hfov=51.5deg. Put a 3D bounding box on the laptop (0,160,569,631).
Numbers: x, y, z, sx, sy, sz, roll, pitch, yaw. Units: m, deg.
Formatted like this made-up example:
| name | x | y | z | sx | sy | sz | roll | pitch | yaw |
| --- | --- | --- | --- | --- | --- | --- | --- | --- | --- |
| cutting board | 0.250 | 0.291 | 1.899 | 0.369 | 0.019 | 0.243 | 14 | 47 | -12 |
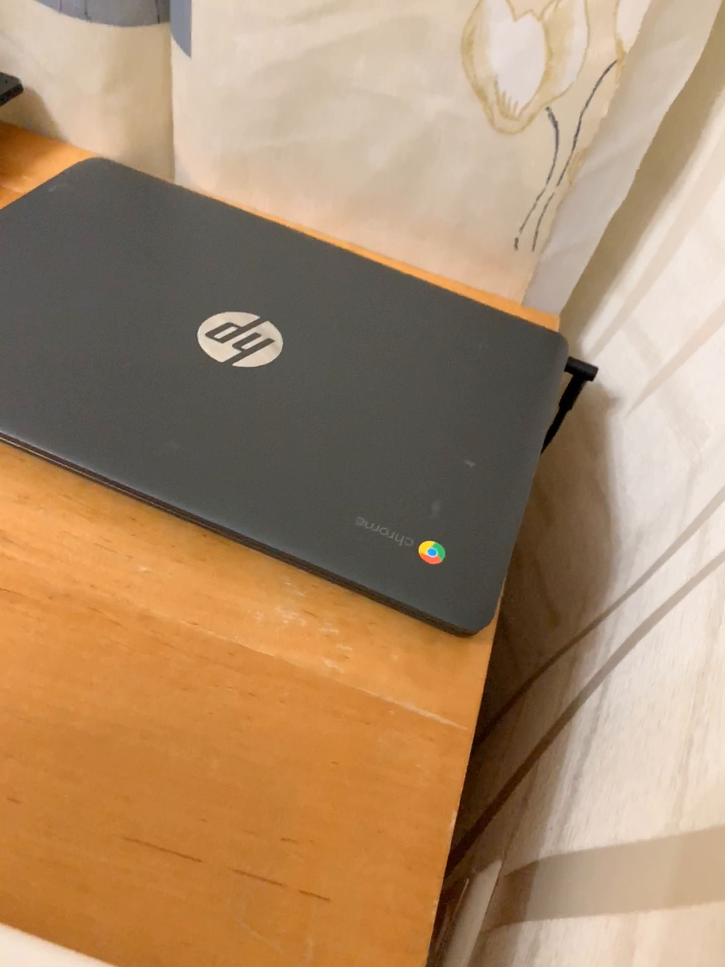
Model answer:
| name | x | y | z | sx | sy | sz | roll | pitch | yaw |
| --- | --- | --- | --- | --- | --- | --- | --- | --- | --- |
| laptop | -0.054 | -0.066 | 0.343 | 0.281 | 0.002 | 0.195 | 23 | 47 | 7 |
